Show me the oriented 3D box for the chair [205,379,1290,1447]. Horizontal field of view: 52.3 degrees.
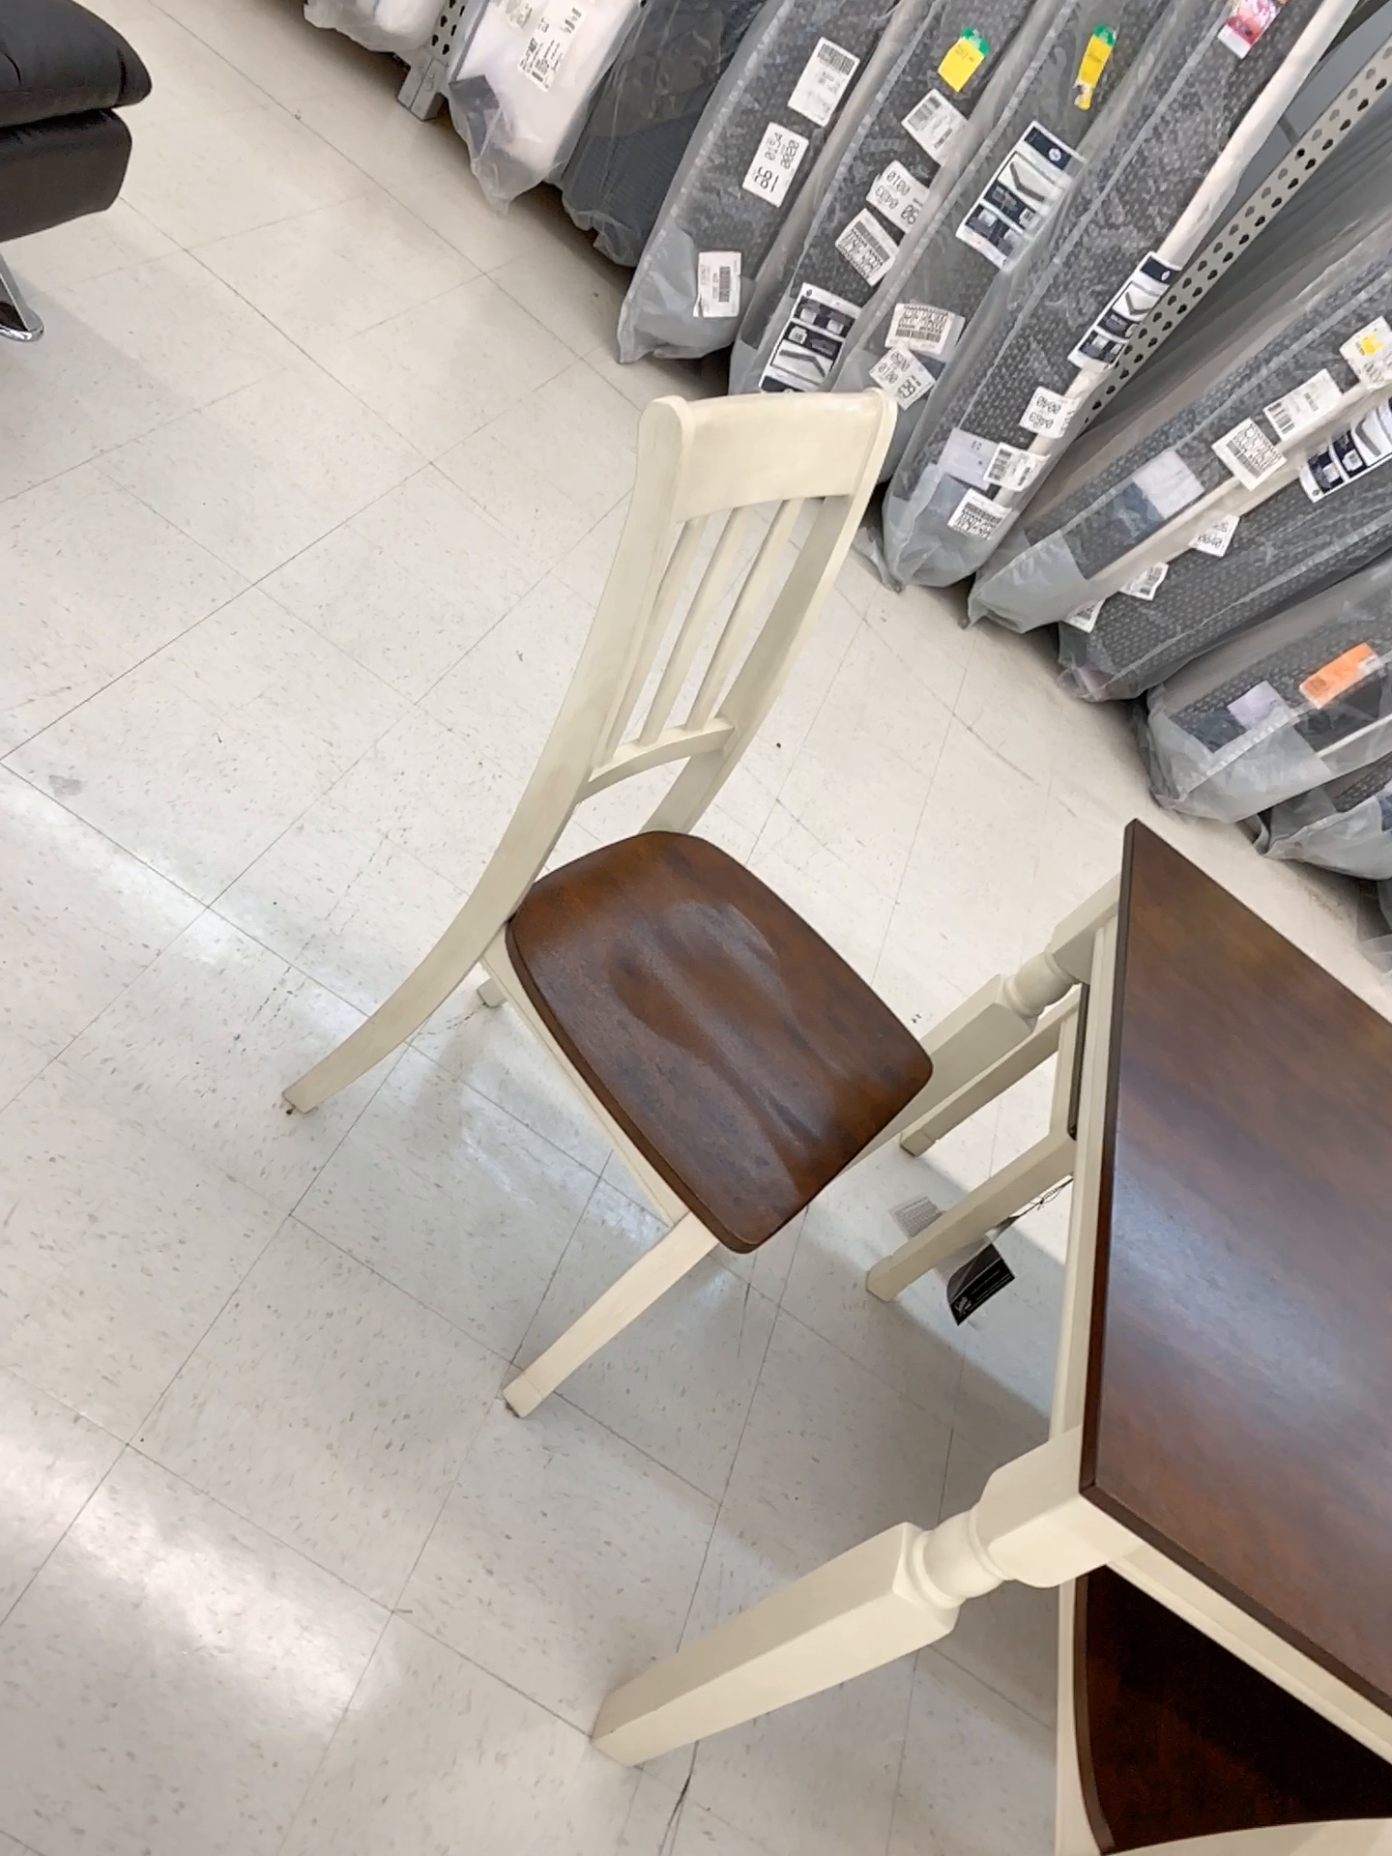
[{"bbox_3d":[0.020,-0.008,1.504,0.570,0.905,0.533,48,37,7],"label":"chair"}]
